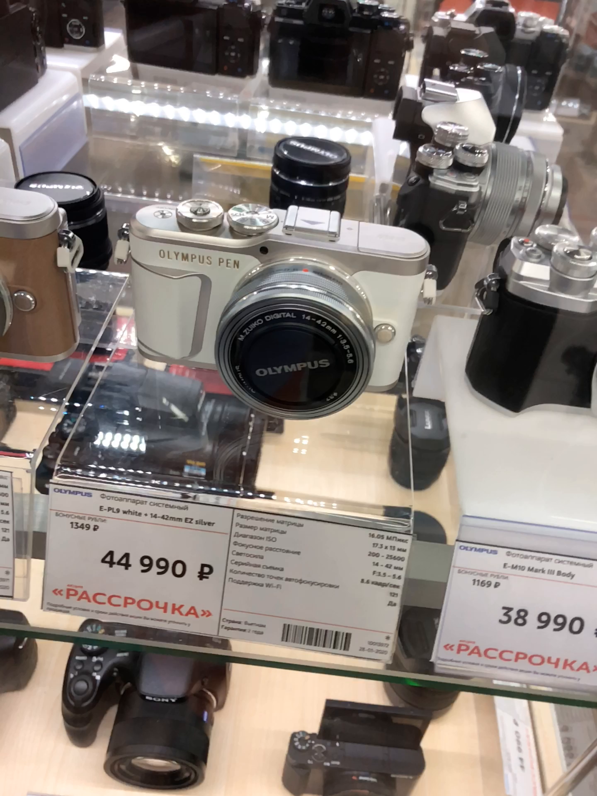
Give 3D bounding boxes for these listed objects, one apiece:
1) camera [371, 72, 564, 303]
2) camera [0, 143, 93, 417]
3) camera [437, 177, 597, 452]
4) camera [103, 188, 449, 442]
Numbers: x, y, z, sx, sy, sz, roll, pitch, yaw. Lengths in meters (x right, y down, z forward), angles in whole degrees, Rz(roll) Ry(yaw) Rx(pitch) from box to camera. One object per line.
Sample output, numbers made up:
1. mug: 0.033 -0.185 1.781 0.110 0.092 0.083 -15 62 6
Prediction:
1. camera: 0.081 -0.116 0.356 0.072 0.072 0.115 7 40 0
2. camera: -0.134 -0.044 0.249 0.087 0.072 0.061 6 40 -1
3. camera: 0.119 -0.030 0.245 0.114 0.072 0.053 6 40 -1
4. camera: -0.009 -0.032 0.261 0.114 0.070 0.053 6 40 -1
